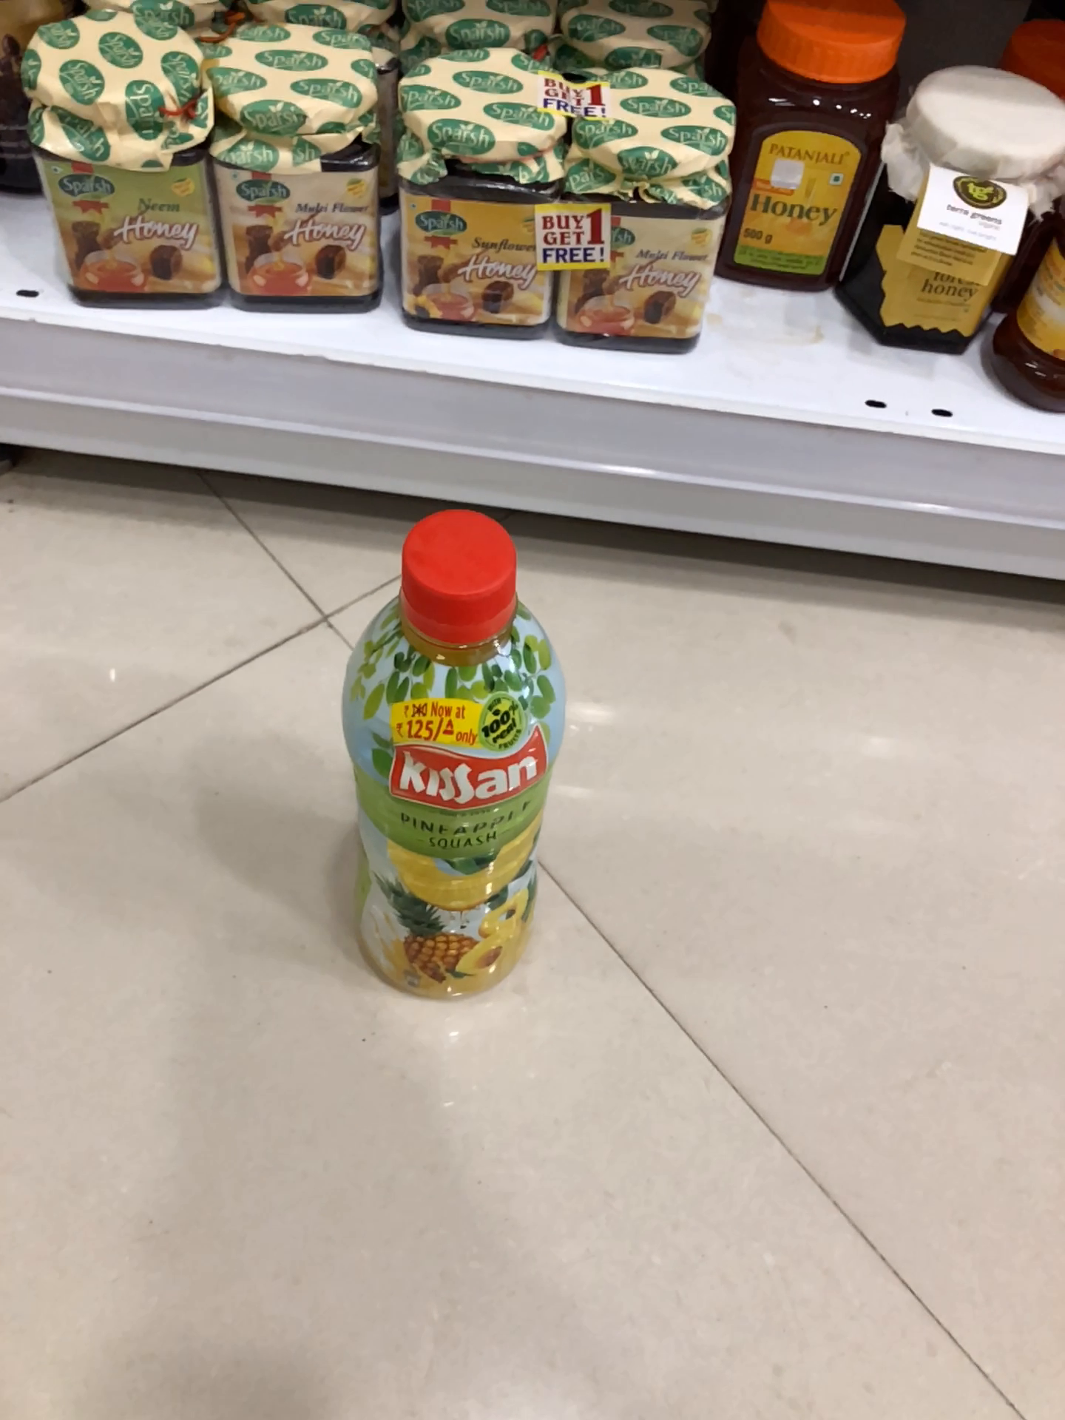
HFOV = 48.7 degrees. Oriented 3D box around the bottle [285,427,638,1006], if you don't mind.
[{"bbox_3d":[-0.028,0.020,0.385,0.080,0.229,0.080,2,58,-4],"label":"bottle"}]
